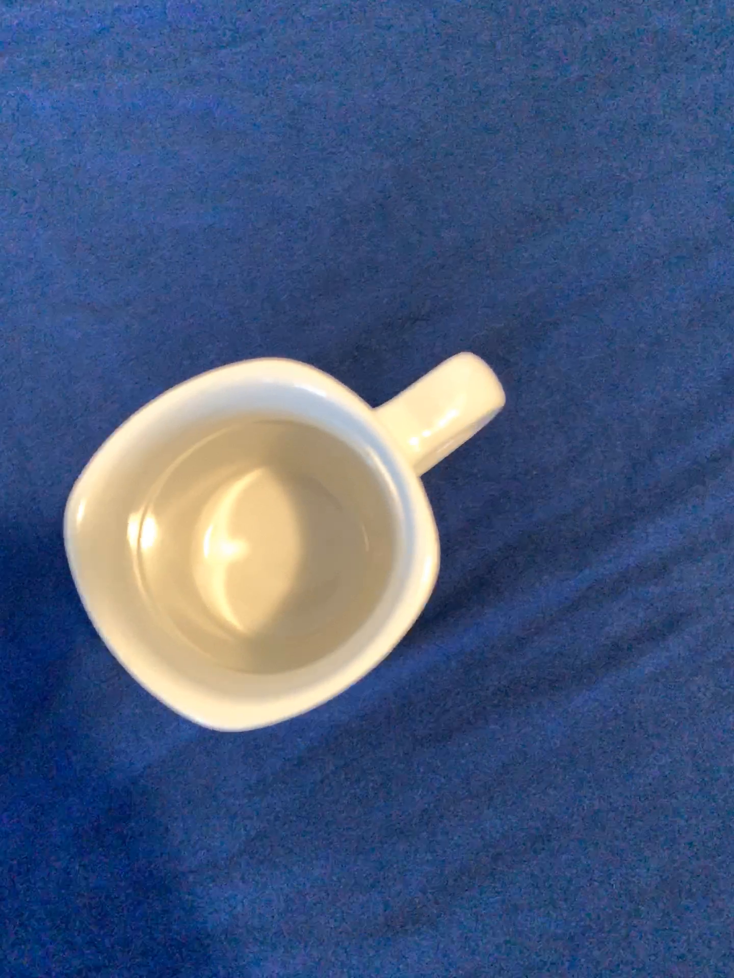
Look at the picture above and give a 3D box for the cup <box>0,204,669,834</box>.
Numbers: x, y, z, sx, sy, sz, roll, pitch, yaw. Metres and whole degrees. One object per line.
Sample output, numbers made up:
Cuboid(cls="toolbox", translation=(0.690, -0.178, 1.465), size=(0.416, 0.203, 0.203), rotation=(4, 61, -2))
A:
Cuboid(cls="cup", translation=(-0.008, 0.009, 0.187), size=(0.110, 0.090, 0.070), rotation=(-34, 83, -5))
